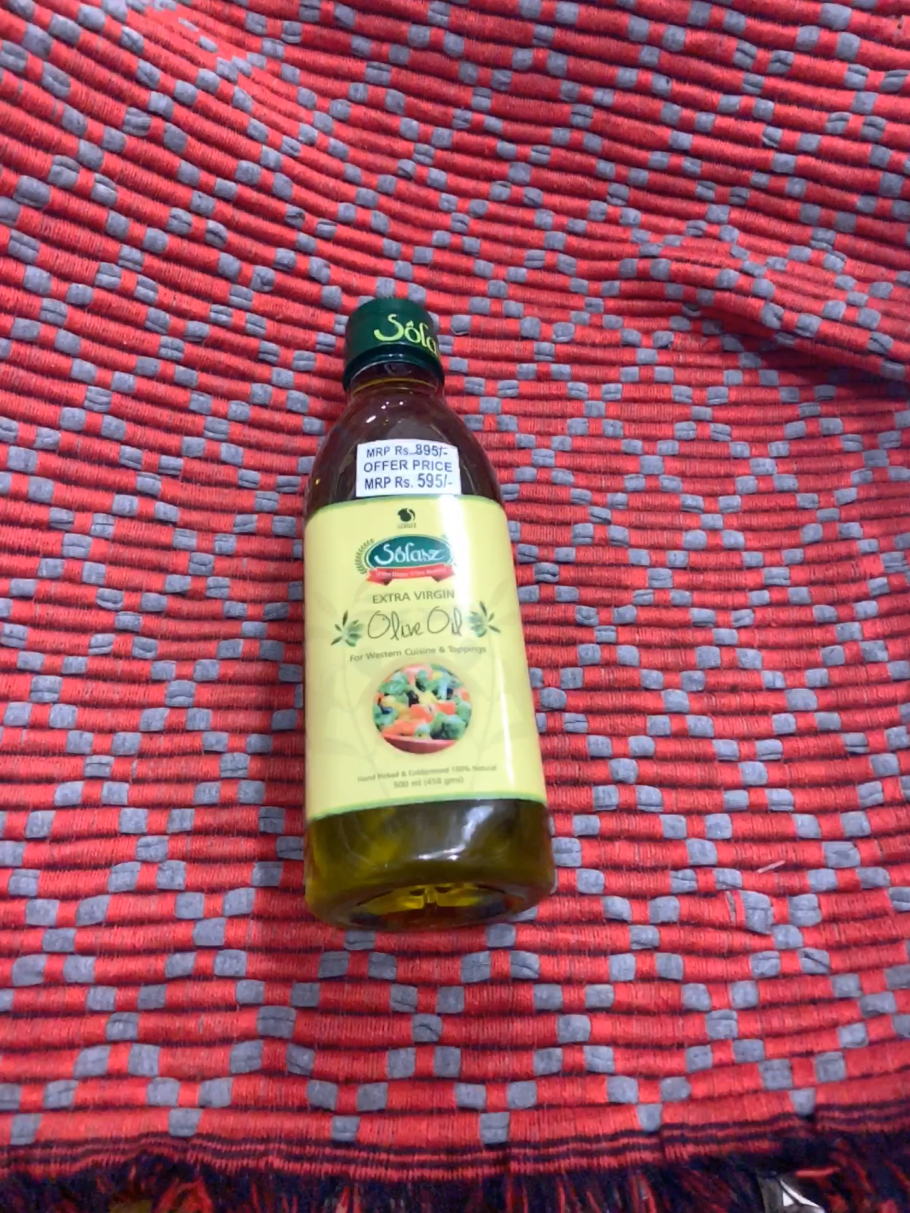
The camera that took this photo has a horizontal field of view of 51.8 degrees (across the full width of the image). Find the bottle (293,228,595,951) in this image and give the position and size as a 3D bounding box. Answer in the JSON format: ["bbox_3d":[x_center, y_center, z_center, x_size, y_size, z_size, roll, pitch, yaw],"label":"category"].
[{"bbox_3d":[-0.011,-0.015,0.269,0.060,0.070,0.201,-3,57,-4],"label":"bottle"}]
